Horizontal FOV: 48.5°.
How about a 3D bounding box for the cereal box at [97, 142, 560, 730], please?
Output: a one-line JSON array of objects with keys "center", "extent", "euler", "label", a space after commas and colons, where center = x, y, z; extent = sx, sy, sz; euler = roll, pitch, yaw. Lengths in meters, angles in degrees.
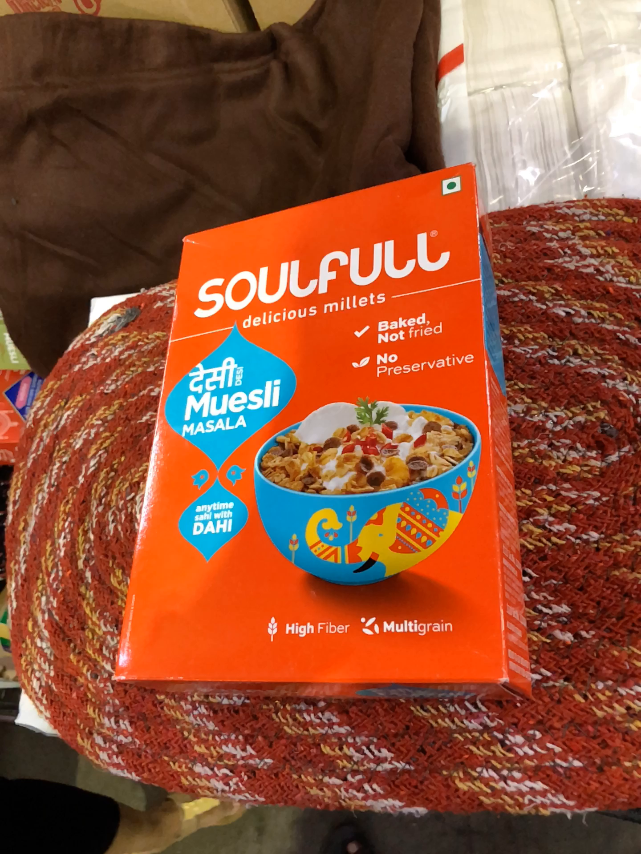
[{"center": [0.005, 0.003, 0.348], "extent": [0.180, 0.060, 0.261], "euler": [-9, 62, 22], "label": "cereal box"}]
